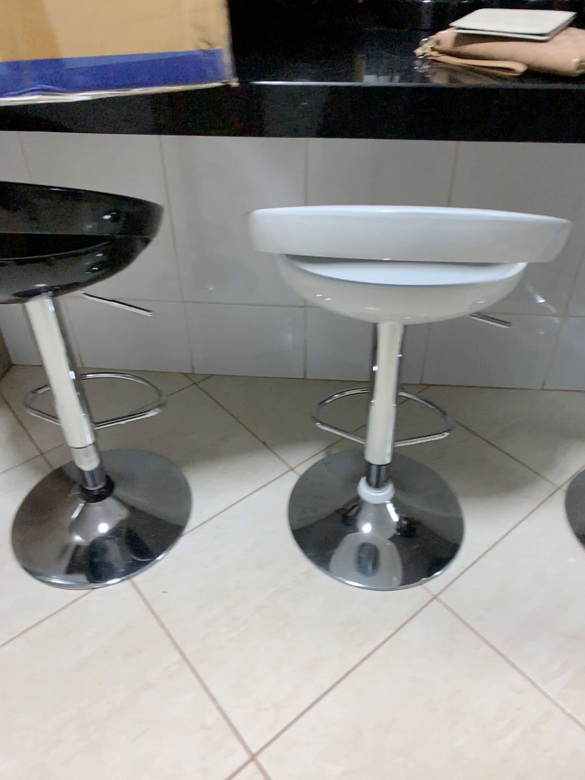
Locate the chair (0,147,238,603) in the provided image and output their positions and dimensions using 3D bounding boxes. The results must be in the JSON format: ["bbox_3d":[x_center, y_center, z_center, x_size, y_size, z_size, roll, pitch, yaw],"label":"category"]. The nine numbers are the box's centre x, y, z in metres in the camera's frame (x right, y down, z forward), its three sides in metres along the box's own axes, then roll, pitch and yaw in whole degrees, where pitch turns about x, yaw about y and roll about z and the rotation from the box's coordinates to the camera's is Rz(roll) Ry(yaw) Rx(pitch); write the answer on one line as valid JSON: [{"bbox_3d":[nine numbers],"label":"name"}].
[{"bbox_3d":[-0.454,-0.027,1.218,0.570,0.753,0.515,2,38,3],"label":"chair"}]

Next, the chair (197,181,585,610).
[{"bbox_3d":[0.153,0.016,1.077,0.510,0.634,0.414,2,38,3],"label":"chair"}]

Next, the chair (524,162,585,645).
[{"bbox_3d":[0.783,0.021,1.045,0.520,0.664,0.444,6,38,8],"label":"chair"}]
